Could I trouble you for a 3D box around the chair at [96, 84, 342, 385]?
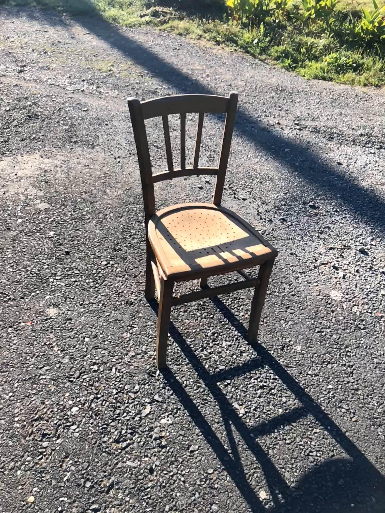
[{"bbox_3d":[0.012,-0.077,1.377,0.491,0.735,0.543,-11,45,-18],"label":"chair"}]
